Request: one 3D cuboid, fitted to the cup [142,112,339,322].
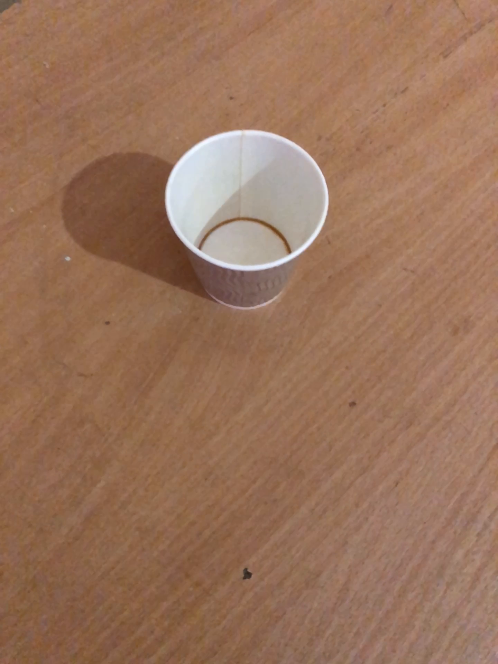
[{"bbox_3d":[-0.003,-0.053,0.271,0.074,0.064,0.067,10,74,2],"label":"cup"}]
